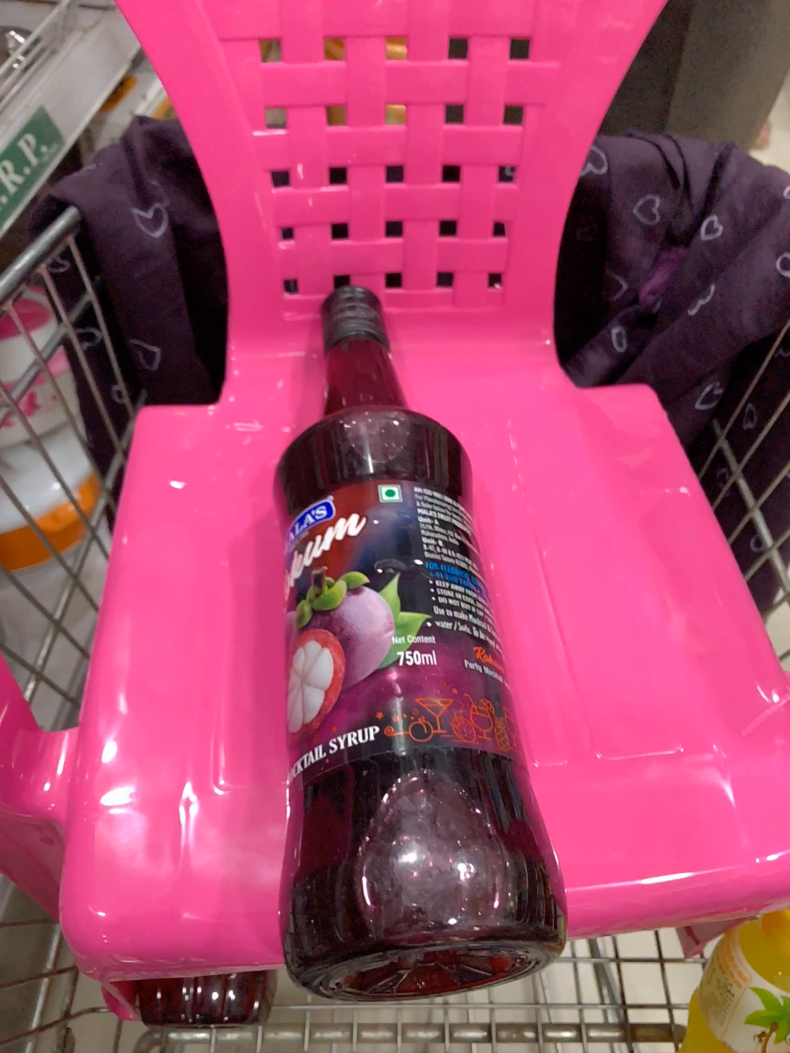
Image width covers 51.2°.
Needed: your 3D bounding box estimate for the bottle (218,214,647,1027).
[{"bbox_3d":[-0.004,0.016,0.287,0.080,0.080,0.261,15,49,-27],"label":"bottle"}]
